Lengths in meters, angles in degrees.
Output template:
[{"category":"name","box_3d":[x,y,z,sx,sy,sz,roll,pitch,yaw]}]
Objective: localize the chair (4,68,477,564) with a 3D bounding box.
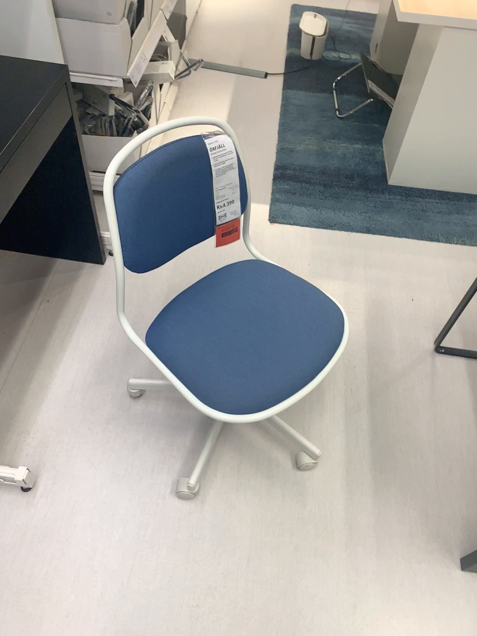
[{"category":"chair","box_3d":[0.019,0.015,1.157,0.641,0.798,0.601,-36,62,-28]}]
